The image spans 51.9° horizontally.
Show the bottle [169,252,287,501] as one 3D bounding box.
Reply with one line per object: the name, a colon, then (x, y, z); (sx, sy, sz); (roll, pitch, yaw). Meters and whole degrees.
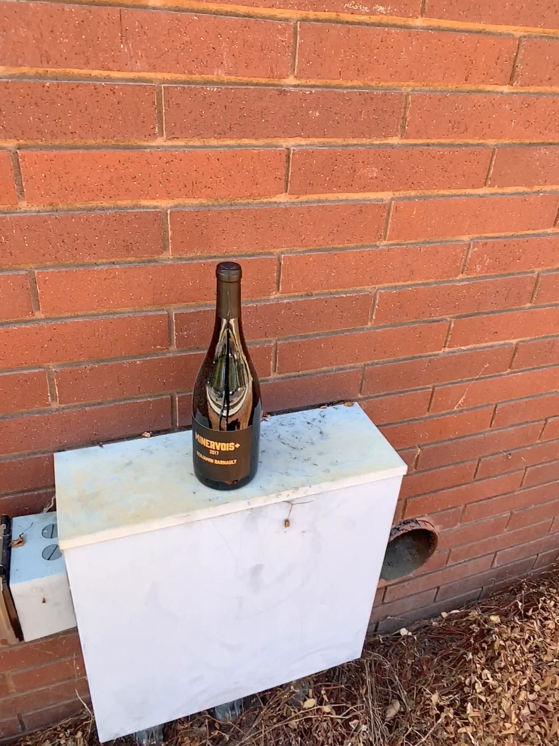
bottle: (-0.060, 0.010, 0.668); (0.100, 0.268, 0.090); (10, 32, 8)
